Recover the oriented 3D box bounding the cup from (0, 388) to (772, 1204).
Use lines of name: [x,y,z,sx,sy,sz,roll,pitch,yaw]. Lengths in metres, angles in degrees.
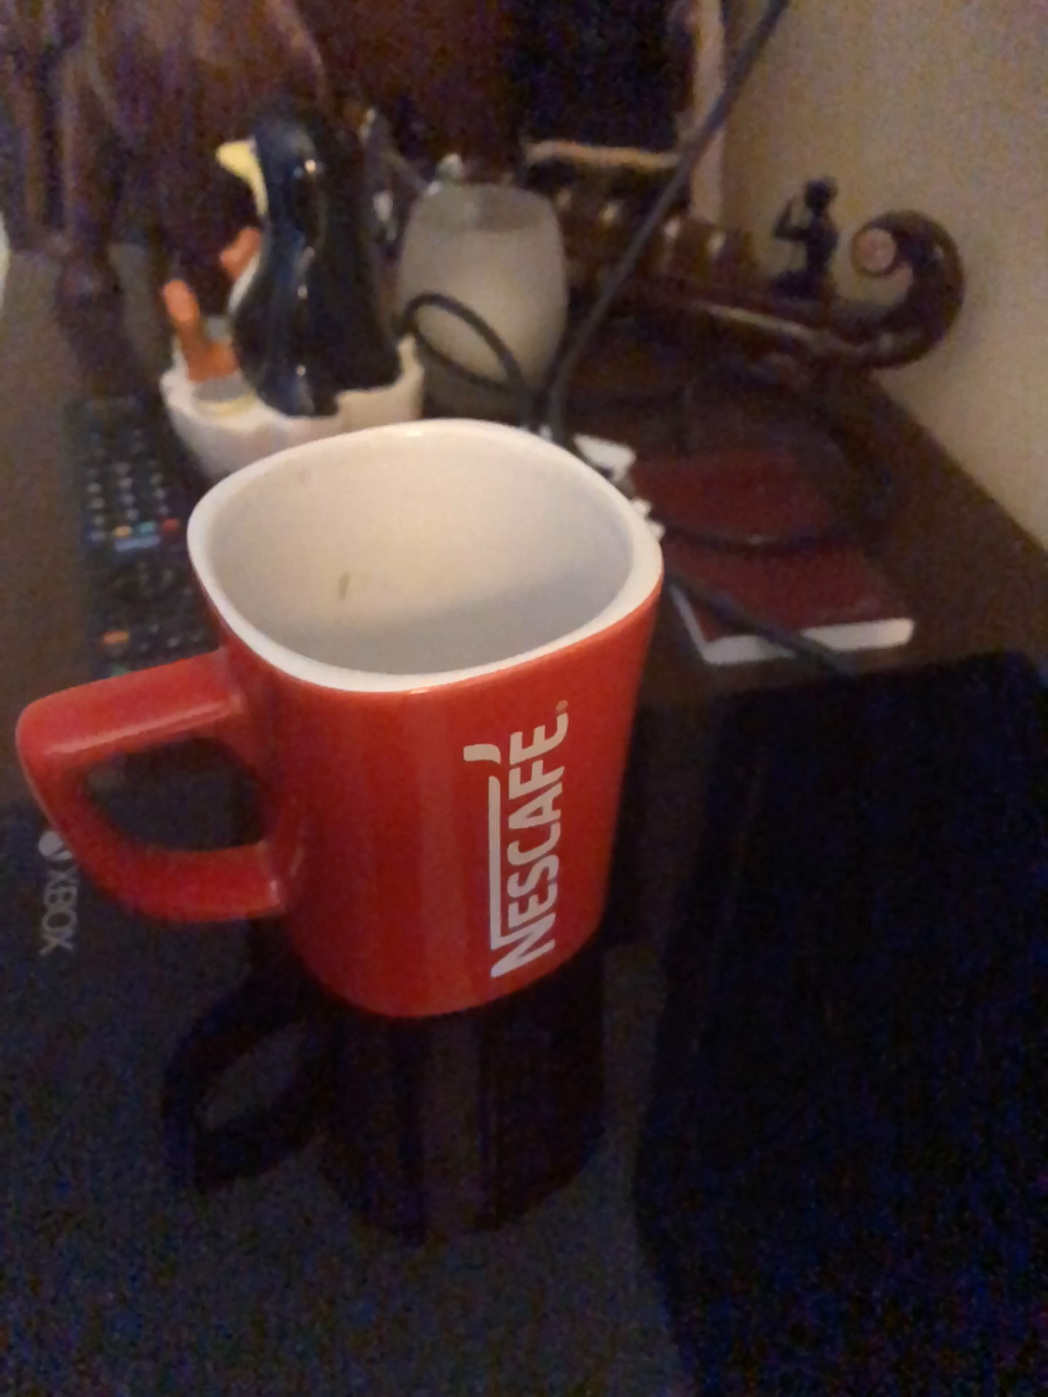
cup: [-0.030,0.012,0.218,0.110,0.089,0.080,-19,46,-21]
